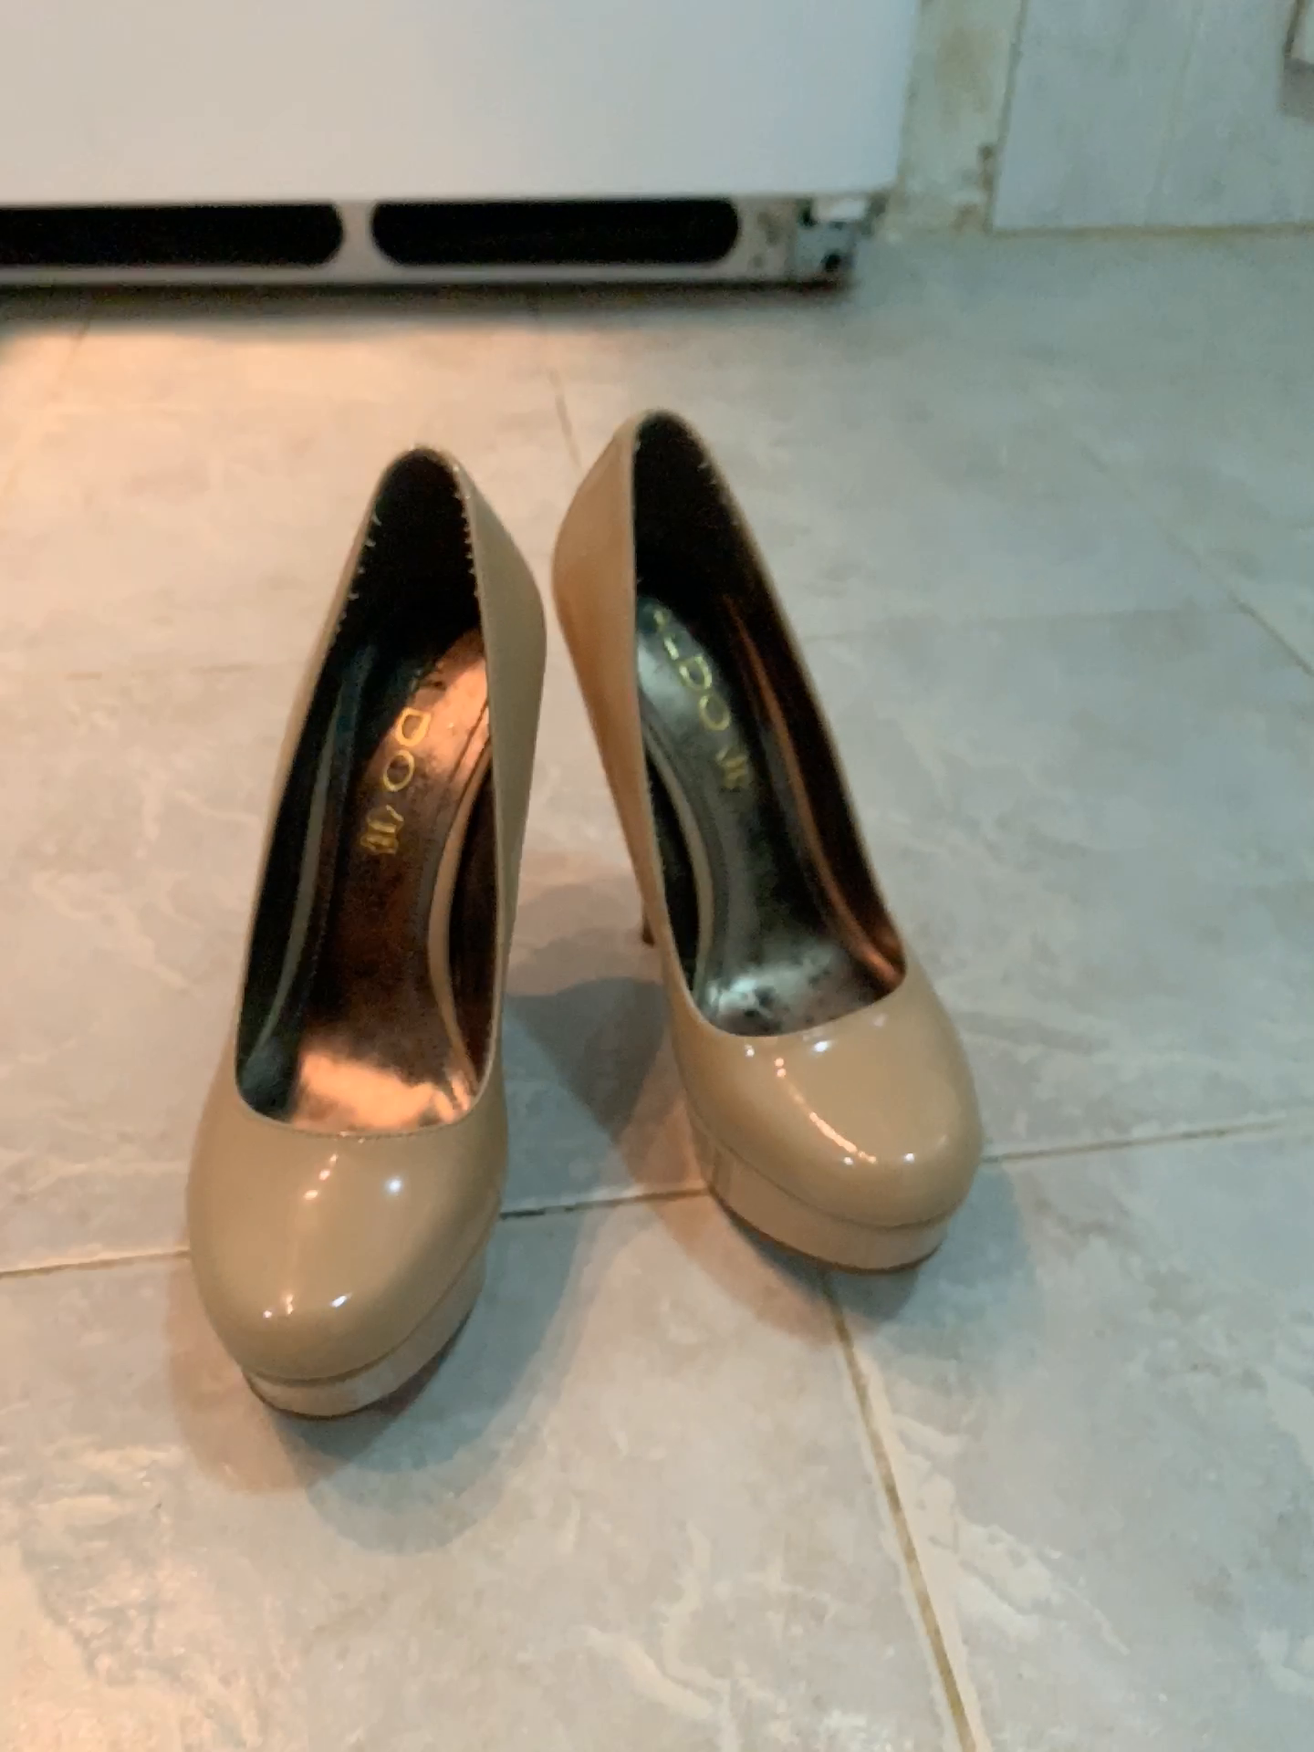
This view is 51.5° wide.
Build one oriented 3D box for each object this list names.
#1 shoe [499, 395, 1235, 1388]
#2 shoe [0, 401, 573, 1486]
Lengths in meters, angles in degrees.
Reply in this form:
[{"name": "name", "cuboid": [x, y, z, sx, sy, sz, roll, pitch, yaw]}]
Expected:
[{"name": "shoe", "cuboid": [0.030, -0.009, 0.376, 0.087, 0.166, 0.211, -12, 41, -17]}, {"name": "shoe", "cuboid": [-0.071, 0.007, 0.346, 0.087, 0.176, 0.211, 2, 39, -1]}]
